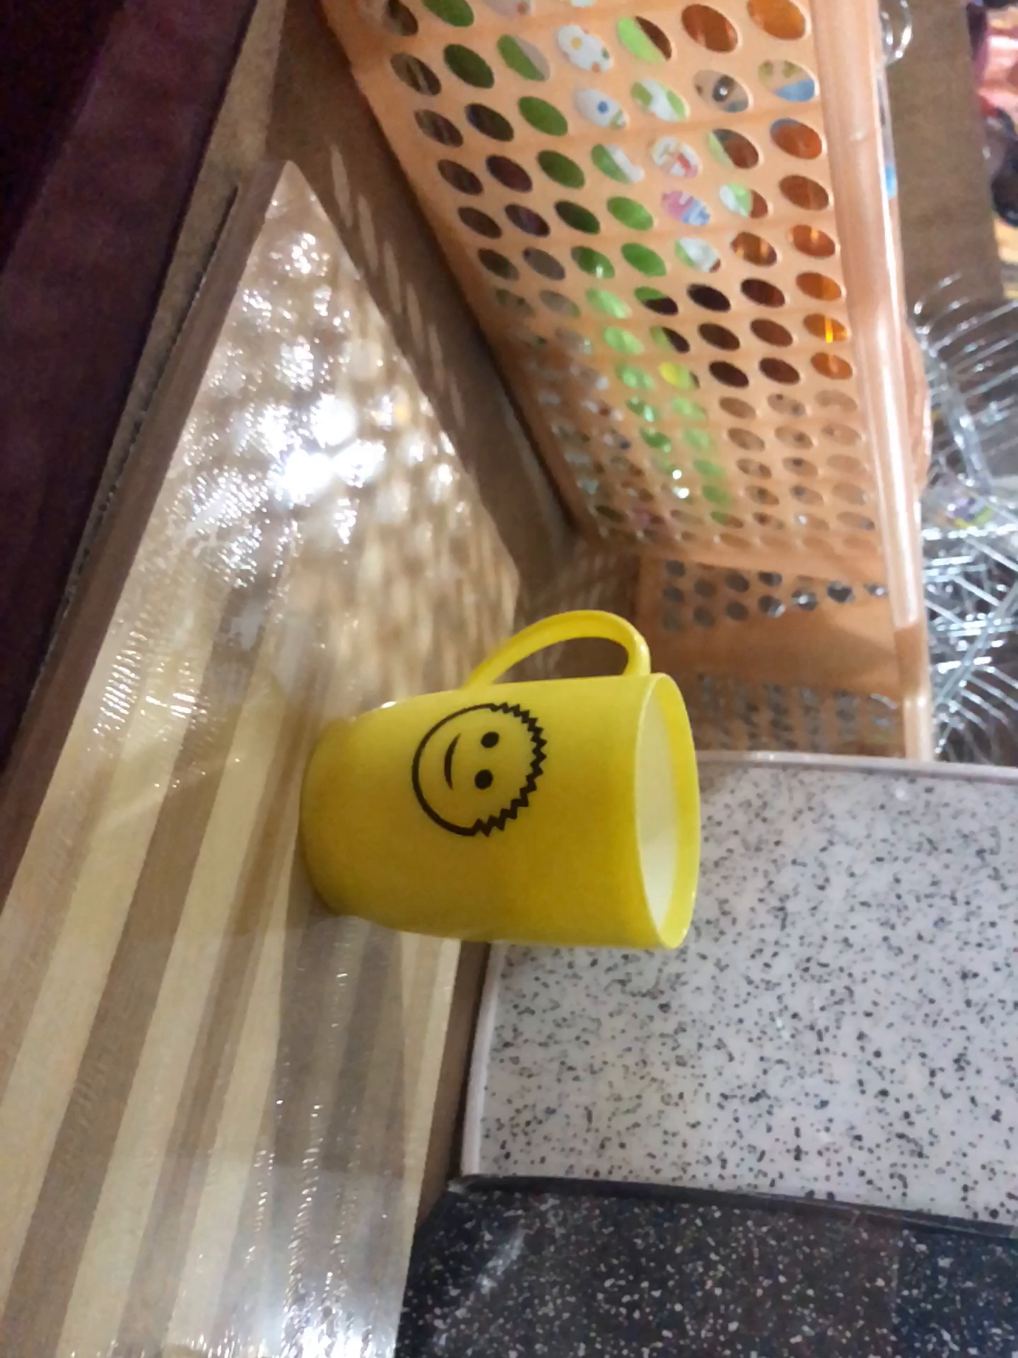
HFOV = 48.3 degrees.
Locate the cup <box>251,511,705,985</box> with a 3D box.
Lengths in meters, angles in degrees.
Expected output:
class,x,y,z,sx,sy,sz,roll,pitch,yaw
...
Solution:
class,x,y,z,sx,sy,sz,roll,pitch,yaw
cup,-0.001,0.025,0.337,0.080,0.099,0.110,55,36,-54
